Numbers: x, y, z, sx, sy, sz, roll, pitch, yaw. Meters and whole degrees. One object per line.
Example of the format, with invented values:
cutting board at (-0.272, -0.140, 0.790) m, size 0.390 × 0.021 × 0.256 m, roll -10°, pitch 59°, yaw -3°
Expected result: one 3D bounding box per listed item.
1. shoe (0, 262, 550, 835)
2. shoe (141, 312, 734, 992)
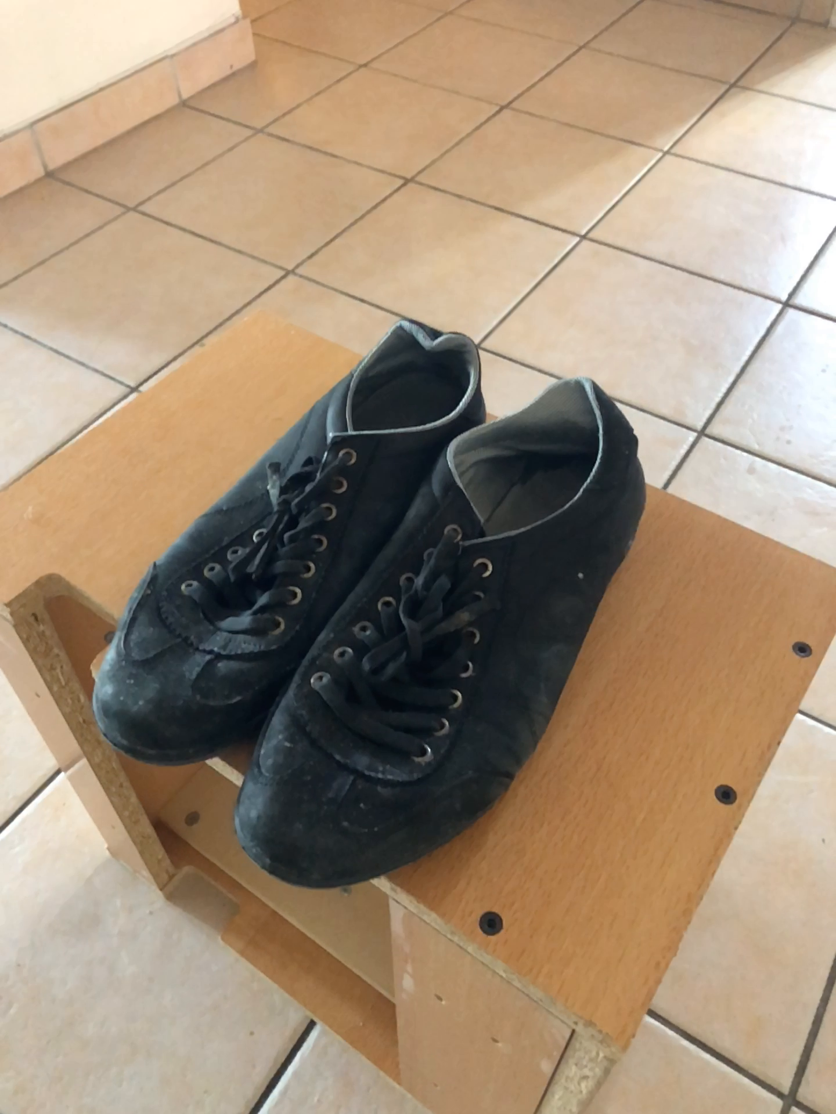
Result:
shoe at (-0.054, -0.026, 0.474) m, size 0.110 × 0.089 × 0.302 m, roll 25°, pitch 54°, yaw 20°
shoe at (0.030, 0.018, 0.430) m, size 0.110 × 0.089 × 0.312 m, roll 25°, pitch 54°, yaw 20°
